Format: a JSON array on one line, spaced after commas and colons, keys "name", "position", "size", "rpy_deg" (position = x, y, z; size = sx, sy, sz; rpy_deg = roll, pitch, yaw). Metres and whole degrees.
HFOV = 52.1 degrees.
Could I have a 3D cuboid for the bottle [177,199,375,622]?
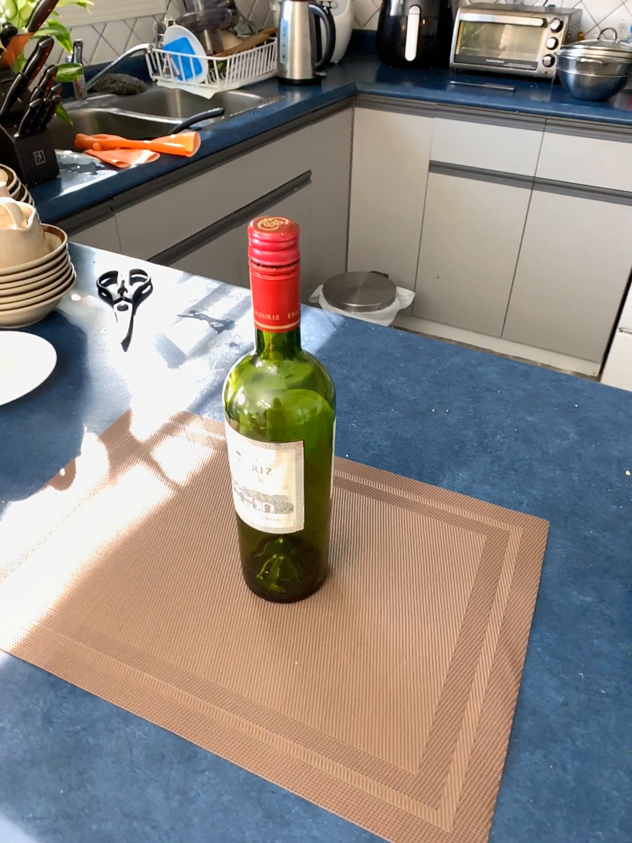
[{"name": "bottle", "position": [-0.025, 0.005, 0.445], "size": [0.080, 0.277, 0.080], "rpy_deg": [0, 37, 0]}]
